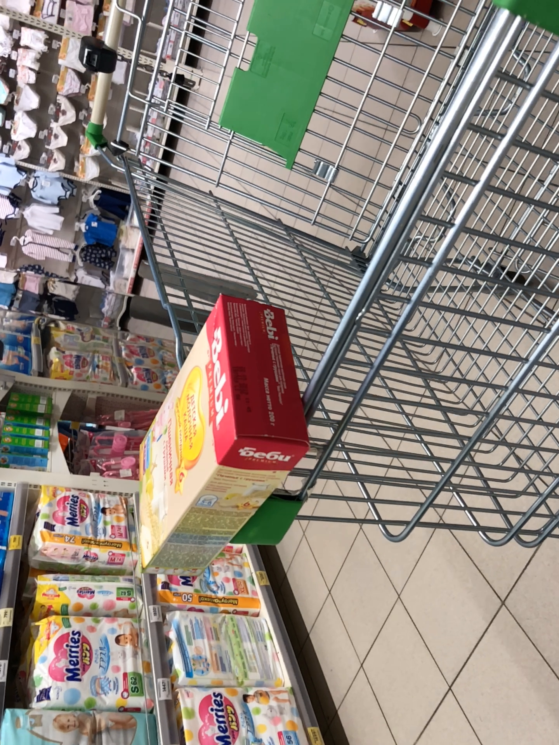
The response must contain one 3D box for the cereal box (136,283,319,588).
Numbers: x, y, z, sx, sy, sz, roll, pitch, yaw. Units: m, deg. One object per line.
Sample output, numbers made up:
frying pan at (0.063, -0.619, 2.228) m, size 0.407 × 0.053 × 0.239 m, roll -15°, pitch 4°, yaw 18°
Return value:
cereal box at (-0.052, 0.057, 0.461) m, size 0.211 × 0.050 × 0.130 m, roll -55°, pitch 33°, yaw 42°
